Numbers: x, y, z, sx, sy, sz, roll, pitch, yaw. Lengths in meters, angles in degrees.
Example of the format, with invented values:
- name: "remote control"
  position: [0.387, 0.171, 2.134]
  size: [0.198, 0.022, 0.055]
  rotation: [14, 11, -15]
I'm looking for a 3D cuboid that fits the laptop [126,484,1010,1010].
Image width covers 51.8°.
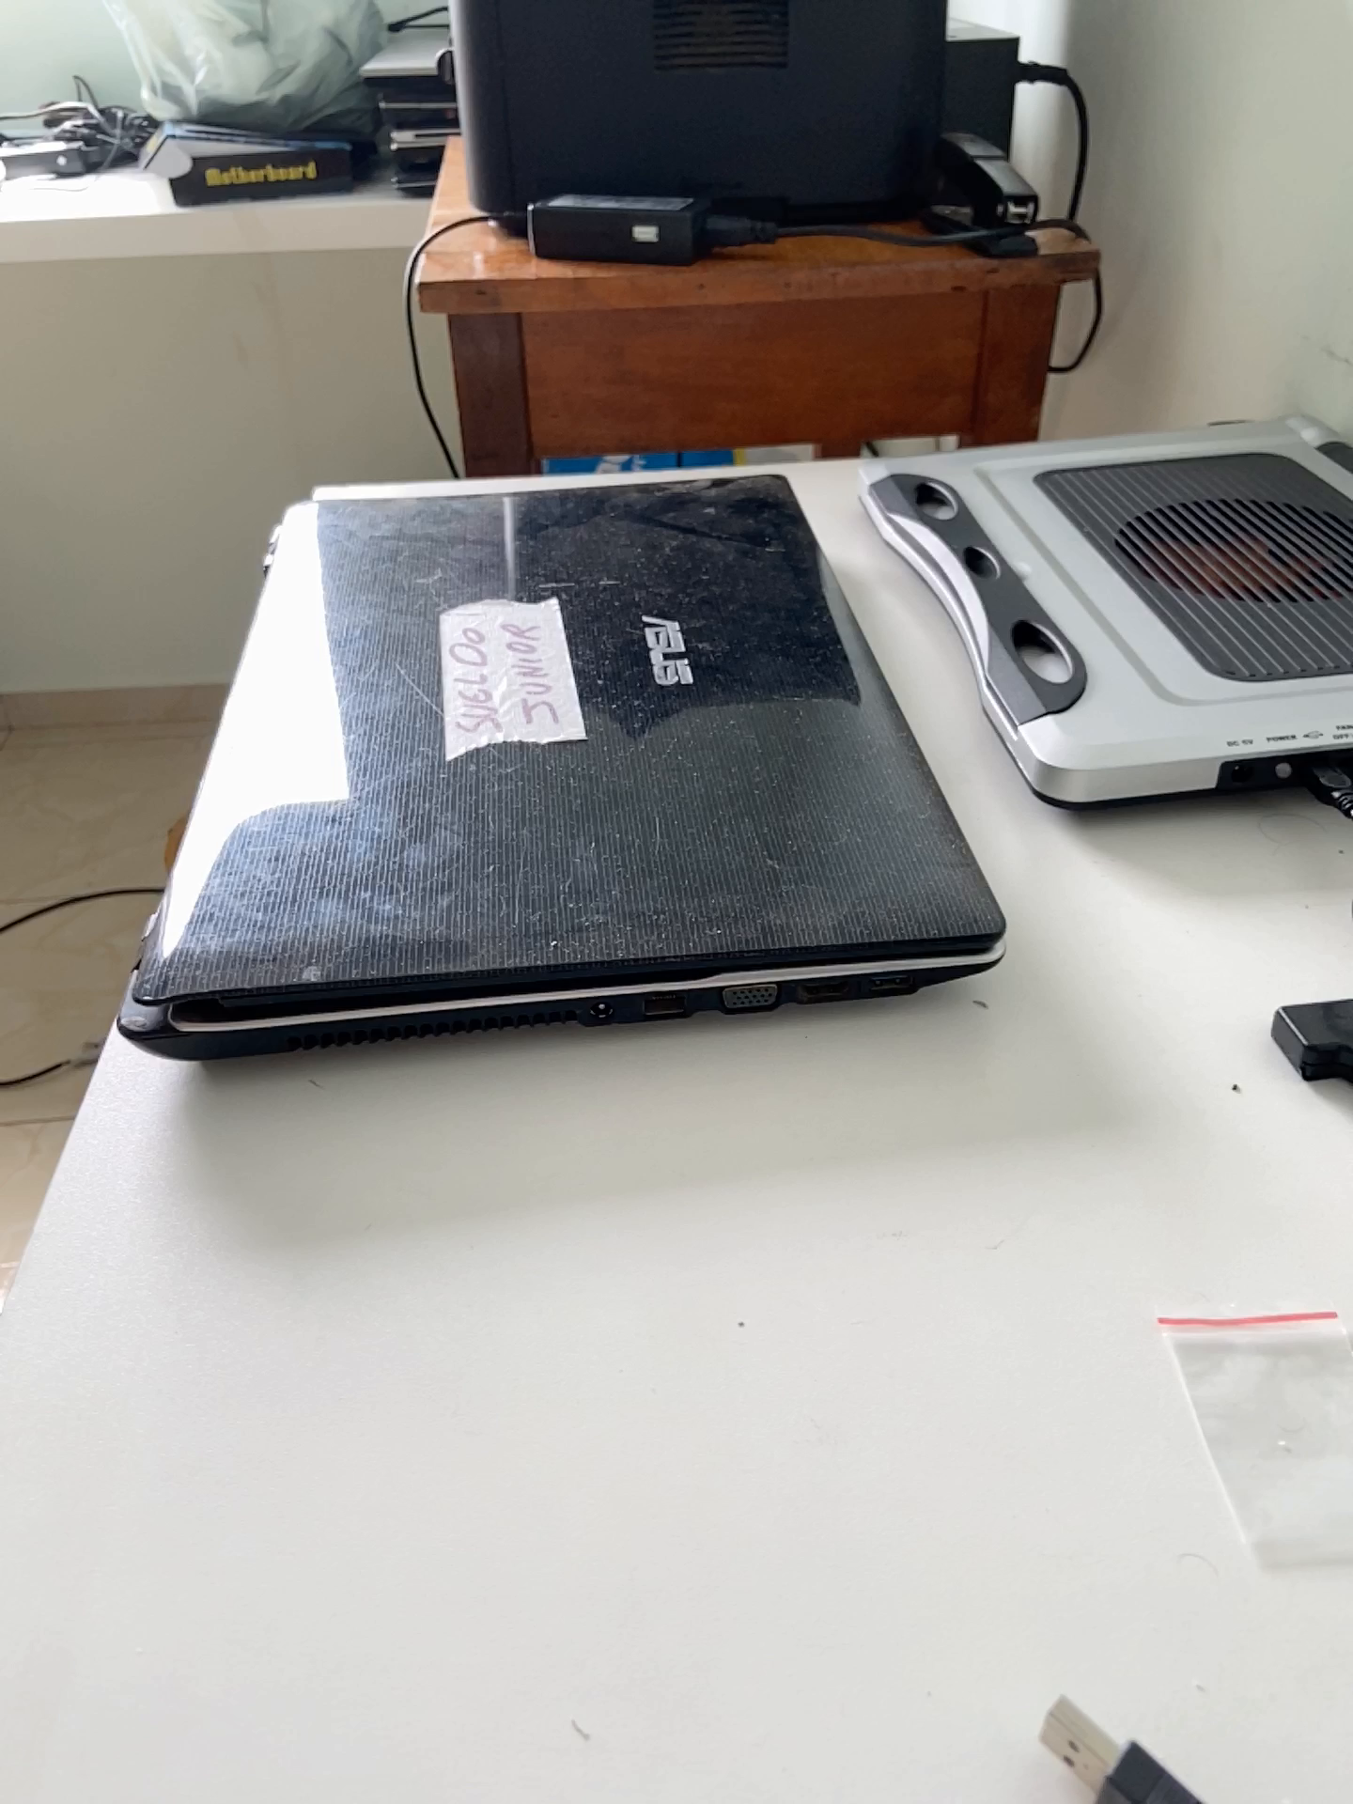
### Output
- name: "laptop"
  position: [-0.048, -0.087, 0.521]
  size: [0.236, 0.001, 0.365]
  rotation: [-5, 36, -4]
